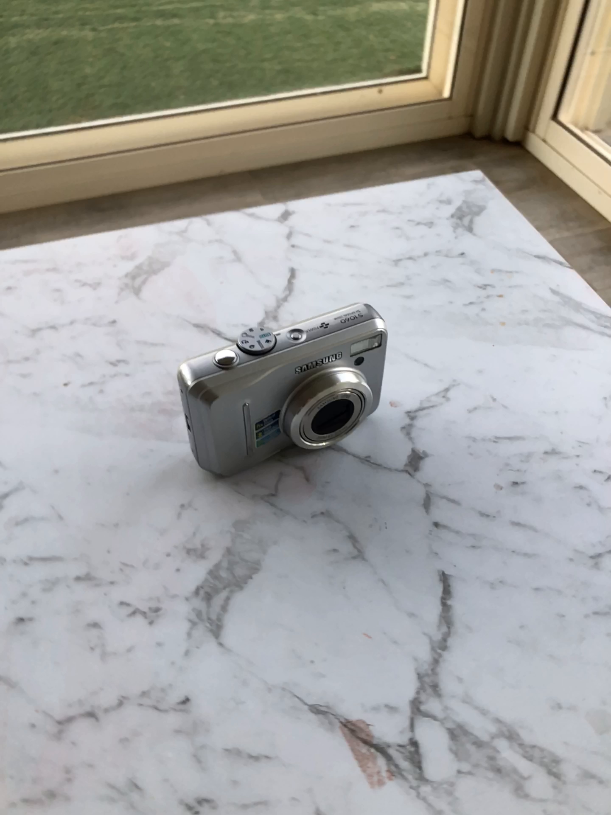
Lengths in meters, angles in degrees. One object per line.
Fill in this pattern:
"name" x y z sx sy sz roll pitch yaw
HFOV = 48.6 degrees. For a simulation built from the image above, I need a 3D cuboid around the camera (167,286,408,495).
"camera" -0.007 -0.009 0.315 0.099 0.061 0.034 -21 51 -18
